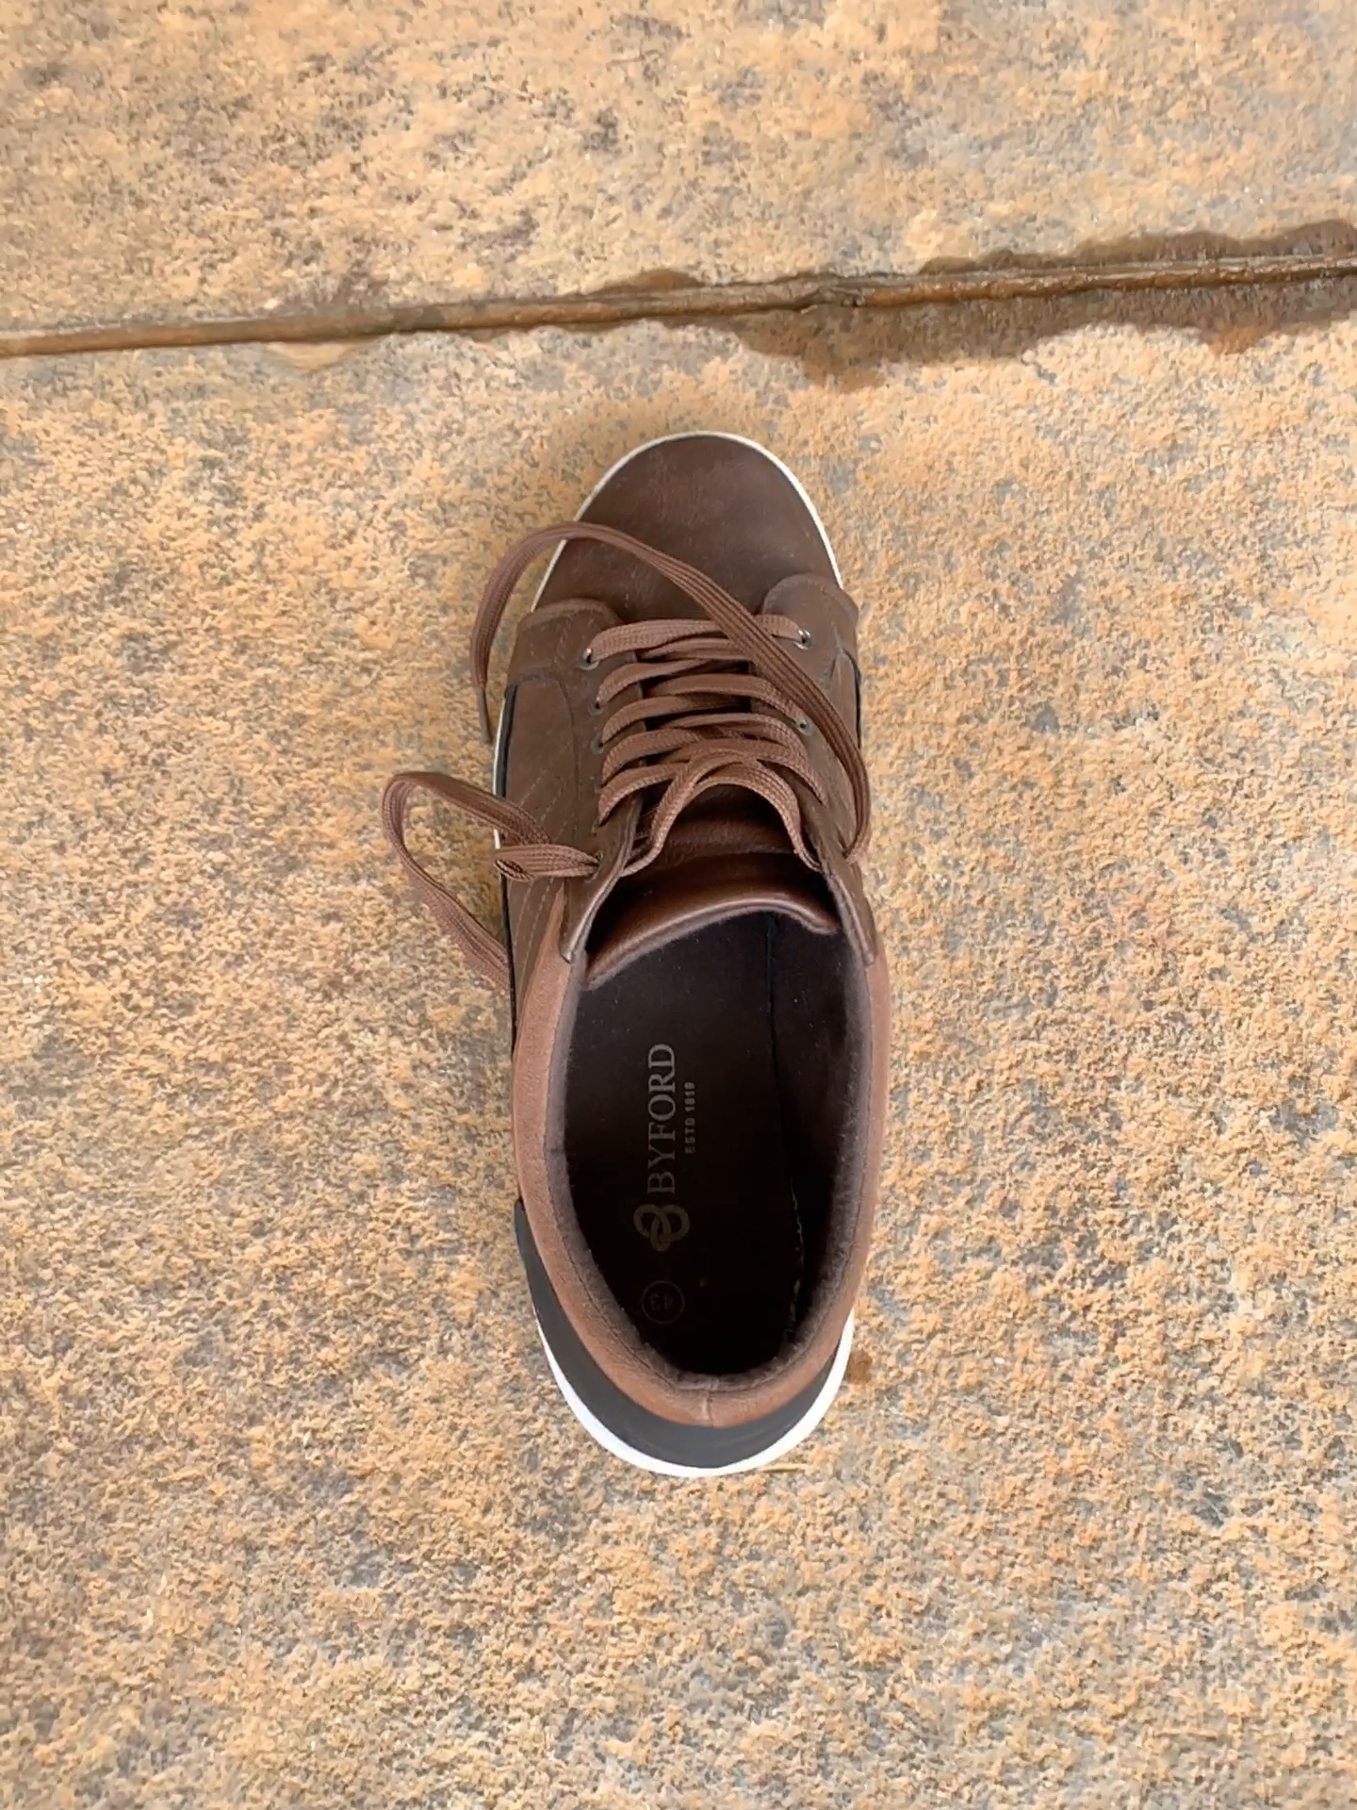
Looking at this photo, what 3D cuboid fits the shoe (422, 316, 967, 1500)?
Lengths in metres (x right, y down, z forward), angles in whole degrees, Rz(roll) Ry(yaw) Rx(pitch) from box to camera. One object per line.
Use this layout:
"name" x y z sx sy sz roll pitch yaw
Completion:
"shoe" 0.000 -0.007 0.373 0.110 0.080 0.300 -3 69 2
